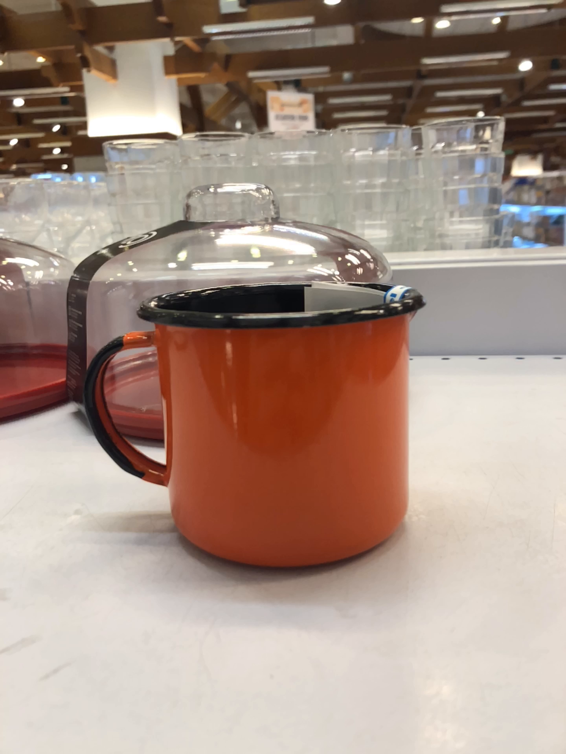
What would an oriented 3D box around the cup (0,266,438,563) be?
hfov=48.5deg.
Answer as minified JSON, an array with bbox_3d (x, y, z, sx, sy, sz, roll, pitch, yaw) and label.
[{"bbox_3d":[-0.012,0.005,0.201,0.110,0.070,0.080,-1,14,7],"label":"cup"}]
